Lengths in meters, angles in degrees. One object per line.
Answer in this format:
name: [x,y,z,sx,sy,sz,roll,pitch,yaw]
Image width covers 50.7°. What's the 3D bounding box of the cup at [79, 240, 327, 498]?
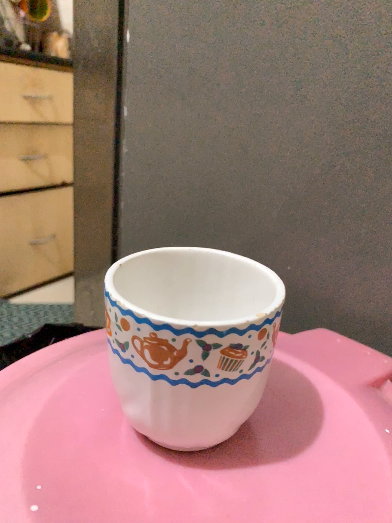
cup: [-0.003,0.033,0.169,0.070,0.060,0.070,5,19,-2]
